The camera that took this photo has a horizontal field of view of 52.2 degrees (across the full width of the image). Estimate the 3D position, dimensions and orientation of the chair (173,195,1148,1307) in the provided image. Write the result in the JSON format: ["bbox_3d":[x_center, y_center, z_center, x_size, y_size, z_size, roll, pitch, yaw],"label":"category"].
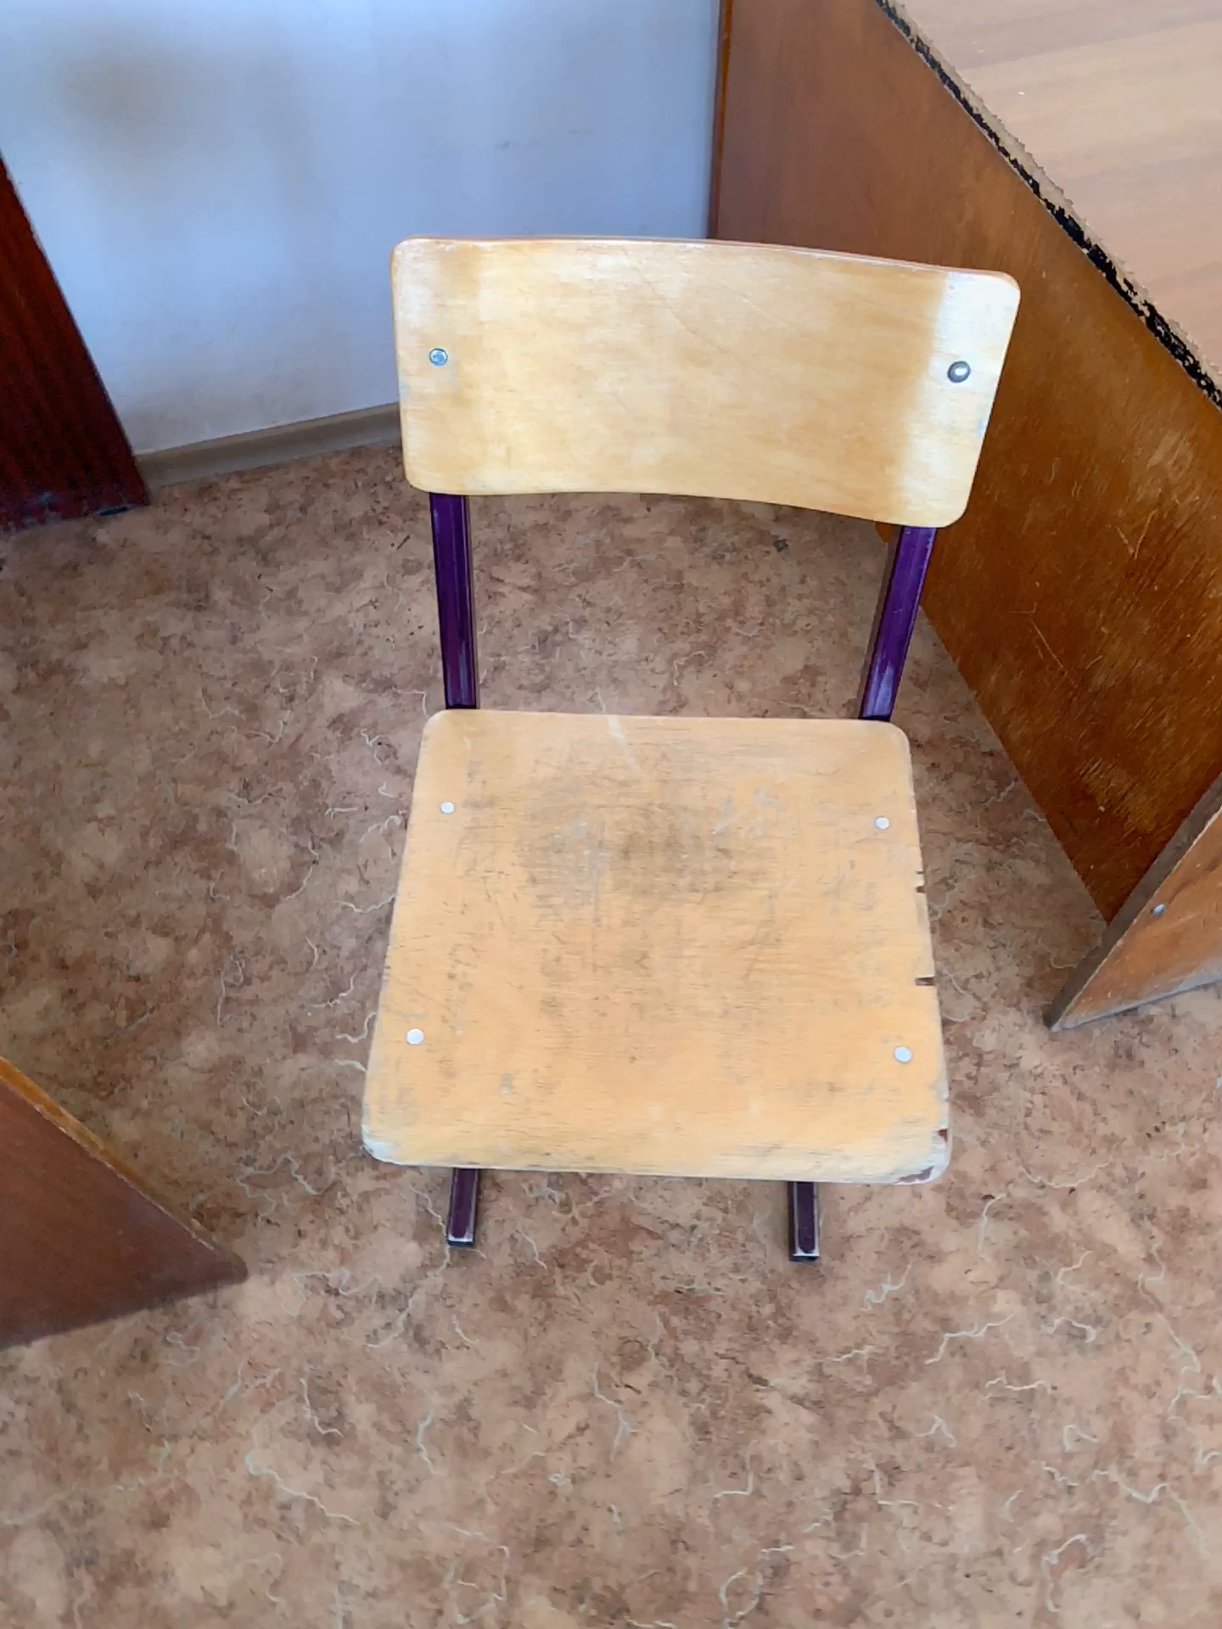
[{"bbox_3d":[0.034,0.032,0.923,0.380,0.735,0.473,2,58,2],"label":"chair"}]
